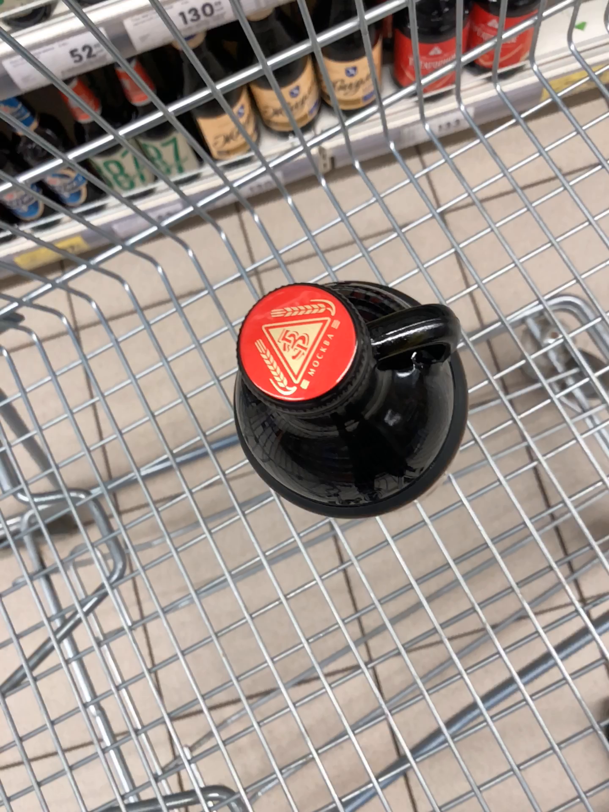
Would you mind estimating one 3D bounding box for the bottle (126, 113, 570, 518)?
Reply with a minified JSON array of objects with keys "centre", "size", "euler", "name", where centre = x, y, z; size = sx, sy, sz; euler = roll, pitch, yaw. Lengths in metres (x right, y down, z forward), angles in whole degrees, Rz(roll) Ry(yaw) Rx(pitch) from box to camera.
[{"centre":[0.026,-0.006,0.289],"size":[0.110,0.230,0.100],"euler":[-2,79,8],"name":"bottle"}]
